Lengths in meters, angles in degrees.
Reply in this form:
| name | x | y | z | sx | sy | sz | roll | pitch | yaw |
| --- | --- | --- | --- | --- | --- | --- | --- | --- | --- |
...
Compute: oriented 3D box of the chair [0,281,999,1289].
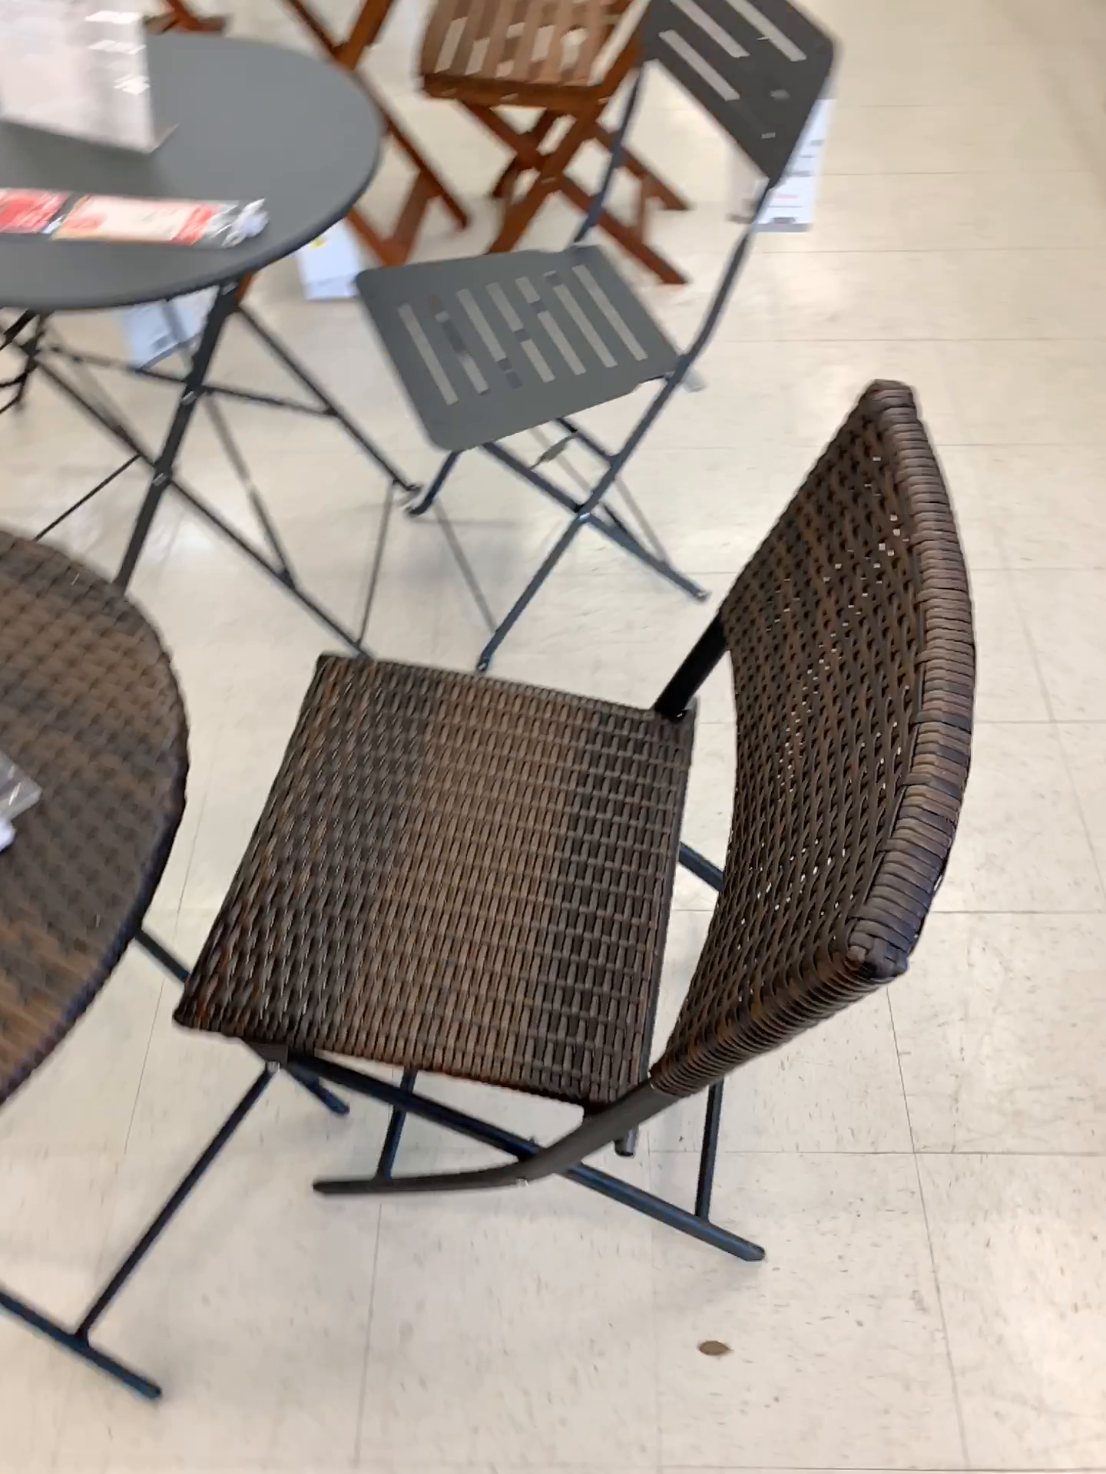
| name | x | y | z | sx | sy | sz | roll | pitch | yaw |
| --- | --- | --- | --- | --- | --- | --- | --- | --- | --- |
| chair | 0.007 | 0.106 | 0.997 | 0.510 | 0.767 | 0.482 | 8 | 55 | 7 |
